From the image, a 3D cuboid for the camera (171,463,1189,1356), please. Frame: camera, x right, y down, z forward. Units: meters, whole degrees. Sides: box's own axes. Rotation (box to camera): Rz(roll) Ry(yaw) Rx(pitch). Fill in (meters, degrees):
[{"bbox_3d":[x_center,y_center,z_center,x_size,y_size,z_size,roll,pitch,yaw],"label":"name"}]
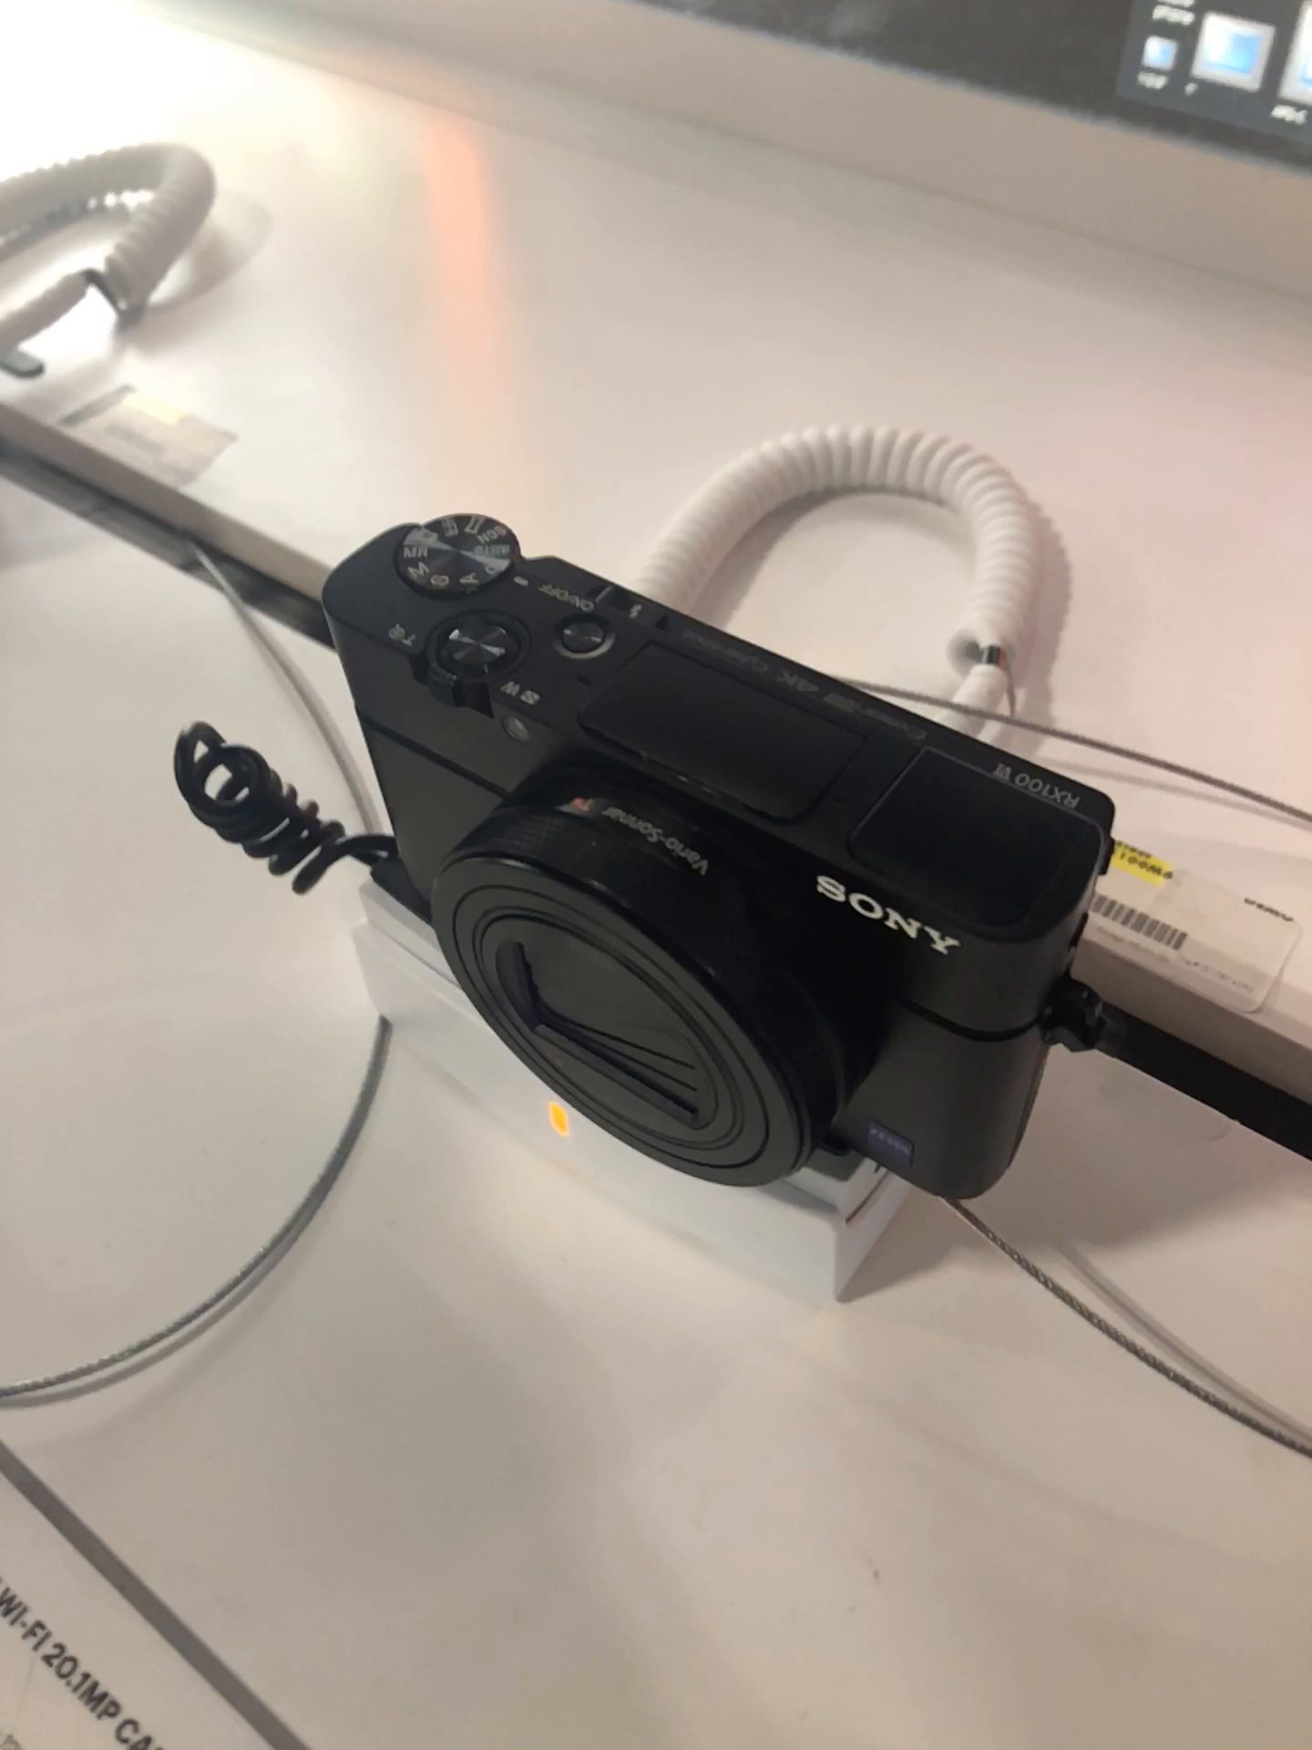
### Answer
[{"bbox_3d":[-0.001,0.001,0.183,0.109,0.060,0.040,28,54,24],"label":"camera"}]
